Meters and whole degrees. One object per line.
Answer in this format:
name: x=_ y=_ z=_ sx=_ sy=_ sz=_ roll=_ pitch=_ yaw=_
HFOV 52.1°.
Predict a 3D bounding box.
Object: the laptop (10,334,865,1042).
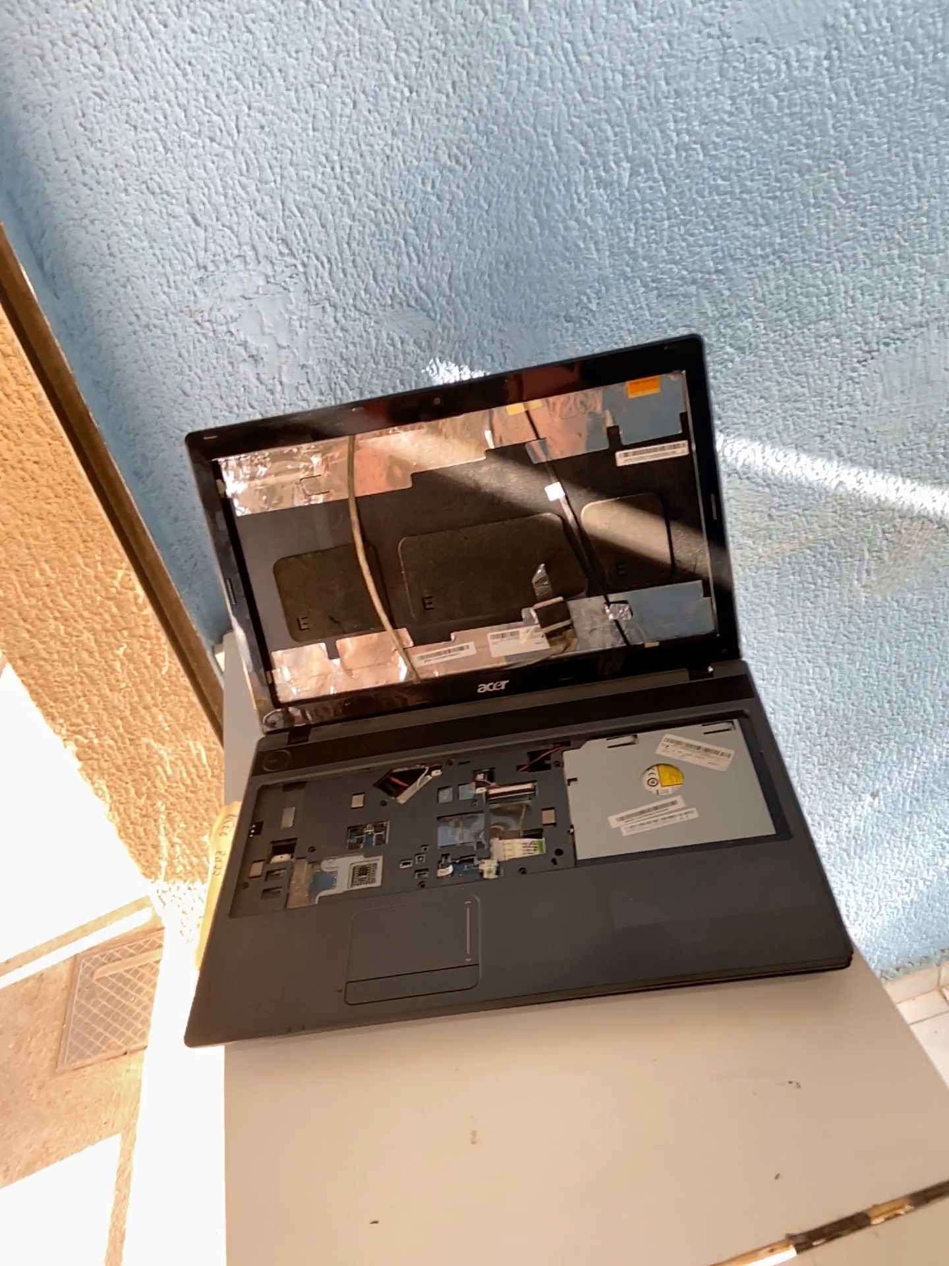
laptop: x=-0.006 y=0.015 z=0.616 sx=0.378 sy=0.210 sz=0.351 roll=-10 pitch=36 yaw=7
